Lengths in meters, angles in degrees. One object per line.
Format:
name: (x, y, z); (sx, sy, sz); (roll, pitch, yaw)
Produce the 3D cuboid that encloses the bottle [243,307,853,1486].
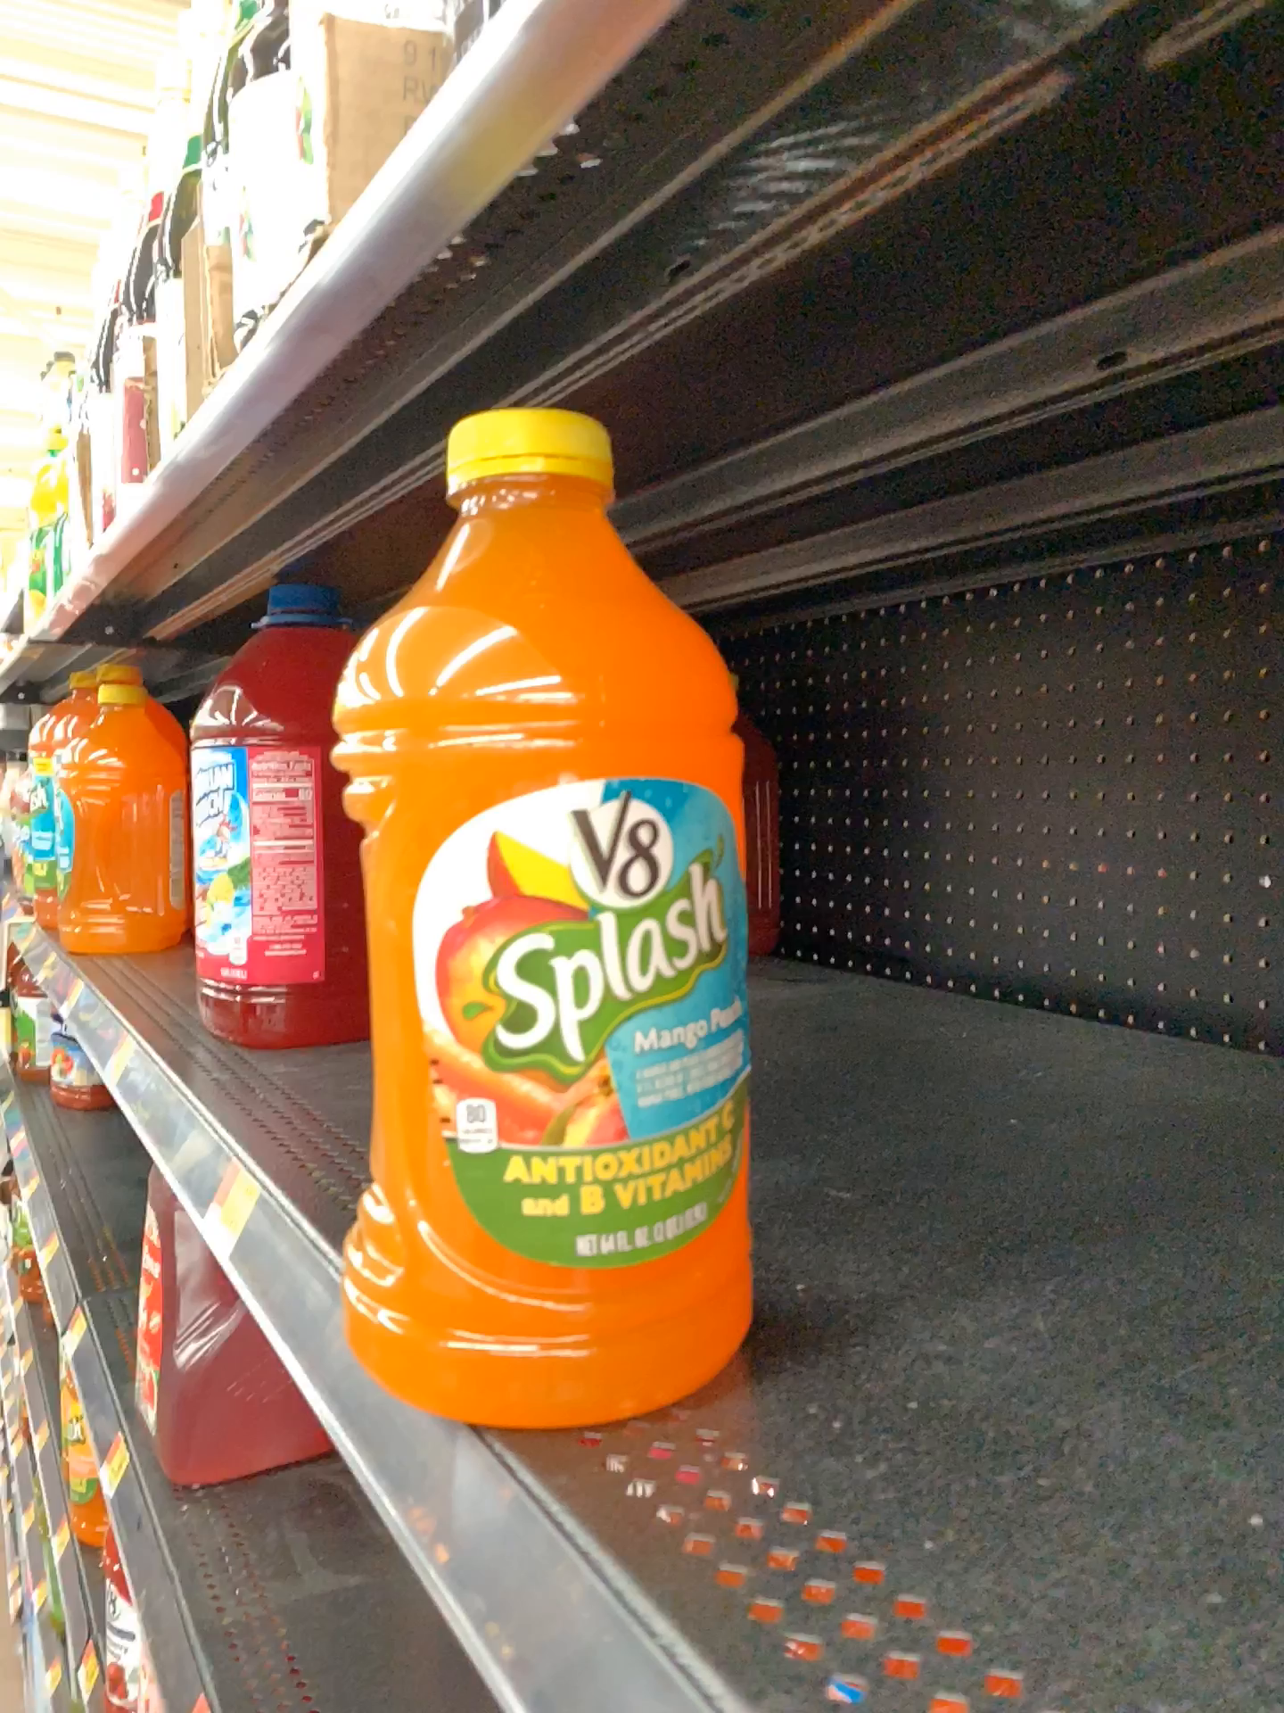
bottle: (-0.031, 0.005, 0.372); (0.128, 0.260, 0.125); (-1, 3, 0)
